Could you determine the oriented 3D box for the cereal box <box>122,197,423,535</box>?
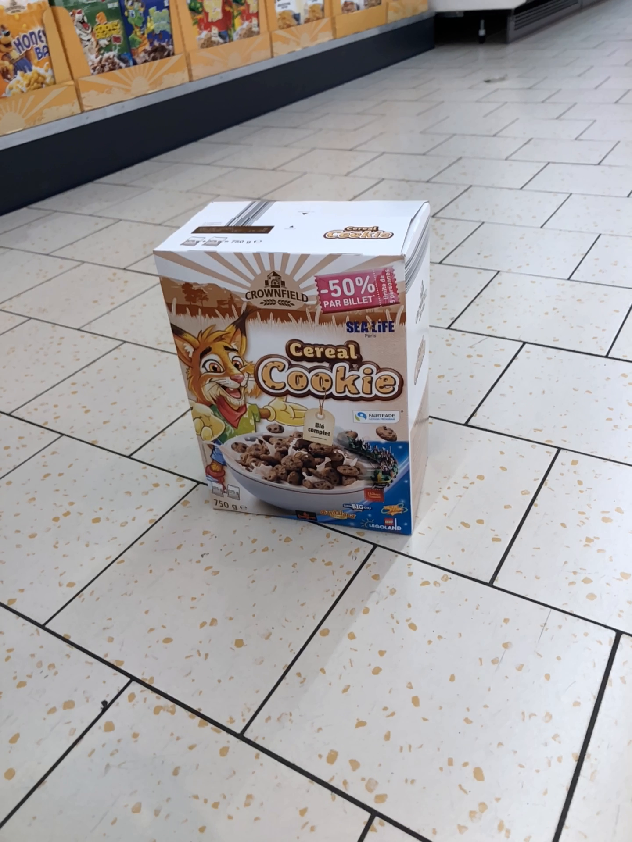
[{"bbox_3d":[-0.019,-0.049,0.597,0.200,0.249,0.121,5,35,17],"label":"cereal box"}]
